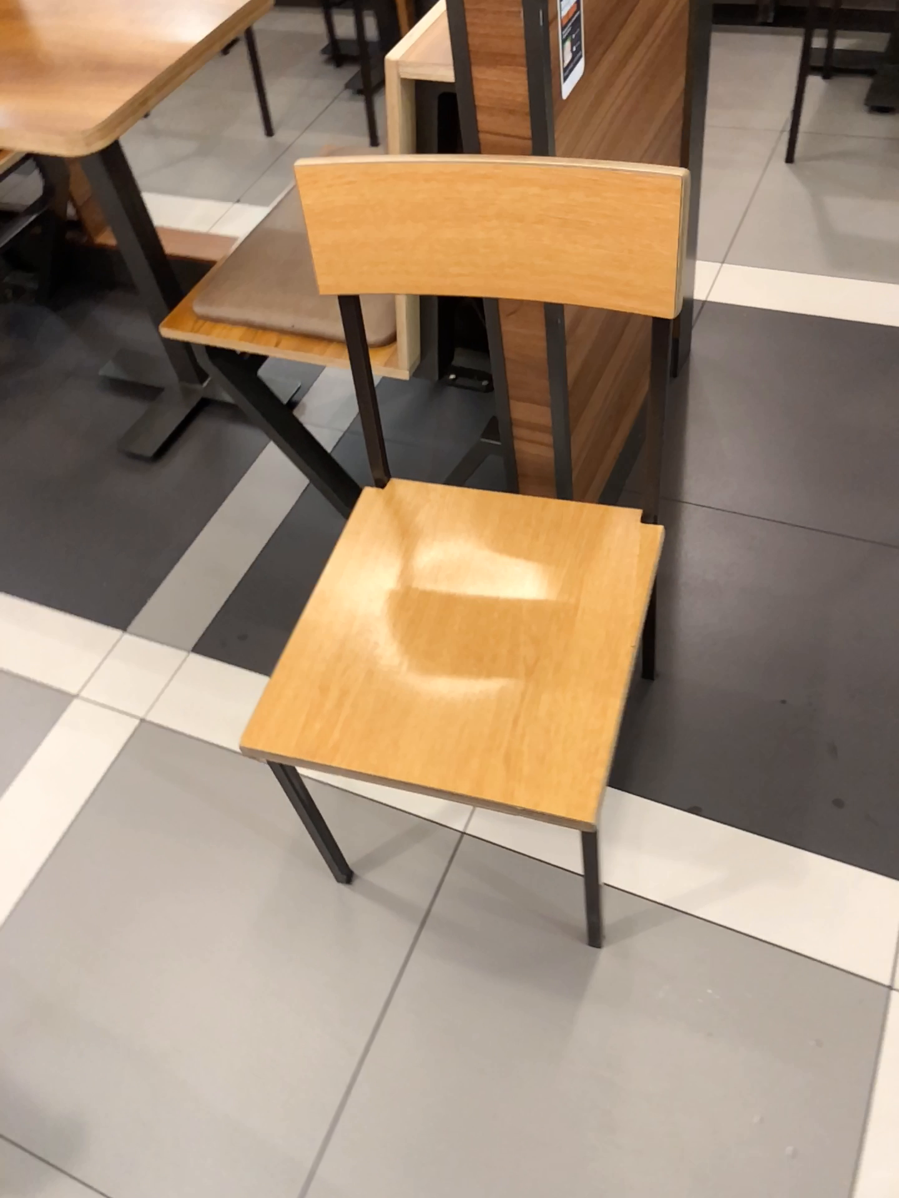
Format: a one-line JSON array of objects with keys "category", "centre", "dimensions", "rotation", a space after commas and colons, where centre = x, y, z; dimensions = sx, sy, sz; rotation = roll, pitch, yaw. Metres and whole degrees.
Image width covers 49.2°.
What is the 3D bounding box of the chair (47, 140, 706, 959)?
[{"category": "chair", "centre": [0.022, -0.002, 1.143], "dimensions": [0.430, 0.846, 0.462], "rotation": [8, 54, 16]}]
